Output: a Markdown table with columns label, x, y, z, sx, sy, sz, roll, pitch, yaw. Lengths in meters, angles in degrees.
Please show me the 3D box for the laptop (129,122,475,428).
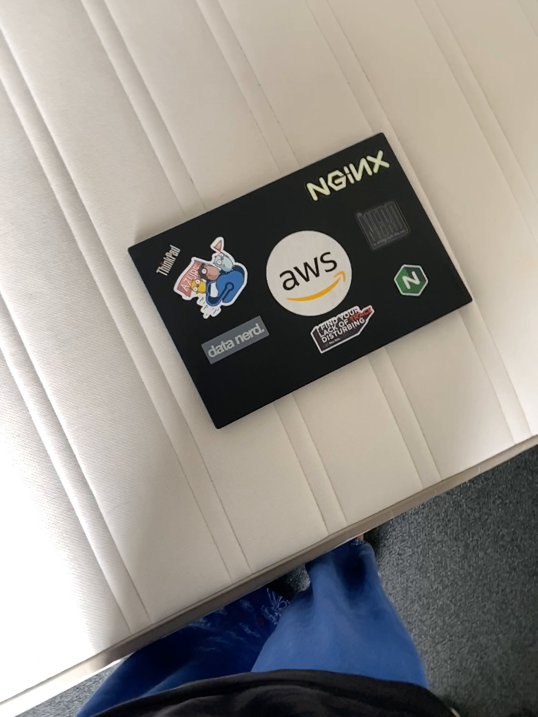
| label | x | y | z | sx | sy | sz | roll | pitch | yaw |
| --- | --- | --- | --- | --- | --- | --- | --- | --- | --- |
| laptop | 0.036 | -0.099 | 0.613 | 0.322 | 0.014 | 0.224 | -26 | 83 | -5 |
